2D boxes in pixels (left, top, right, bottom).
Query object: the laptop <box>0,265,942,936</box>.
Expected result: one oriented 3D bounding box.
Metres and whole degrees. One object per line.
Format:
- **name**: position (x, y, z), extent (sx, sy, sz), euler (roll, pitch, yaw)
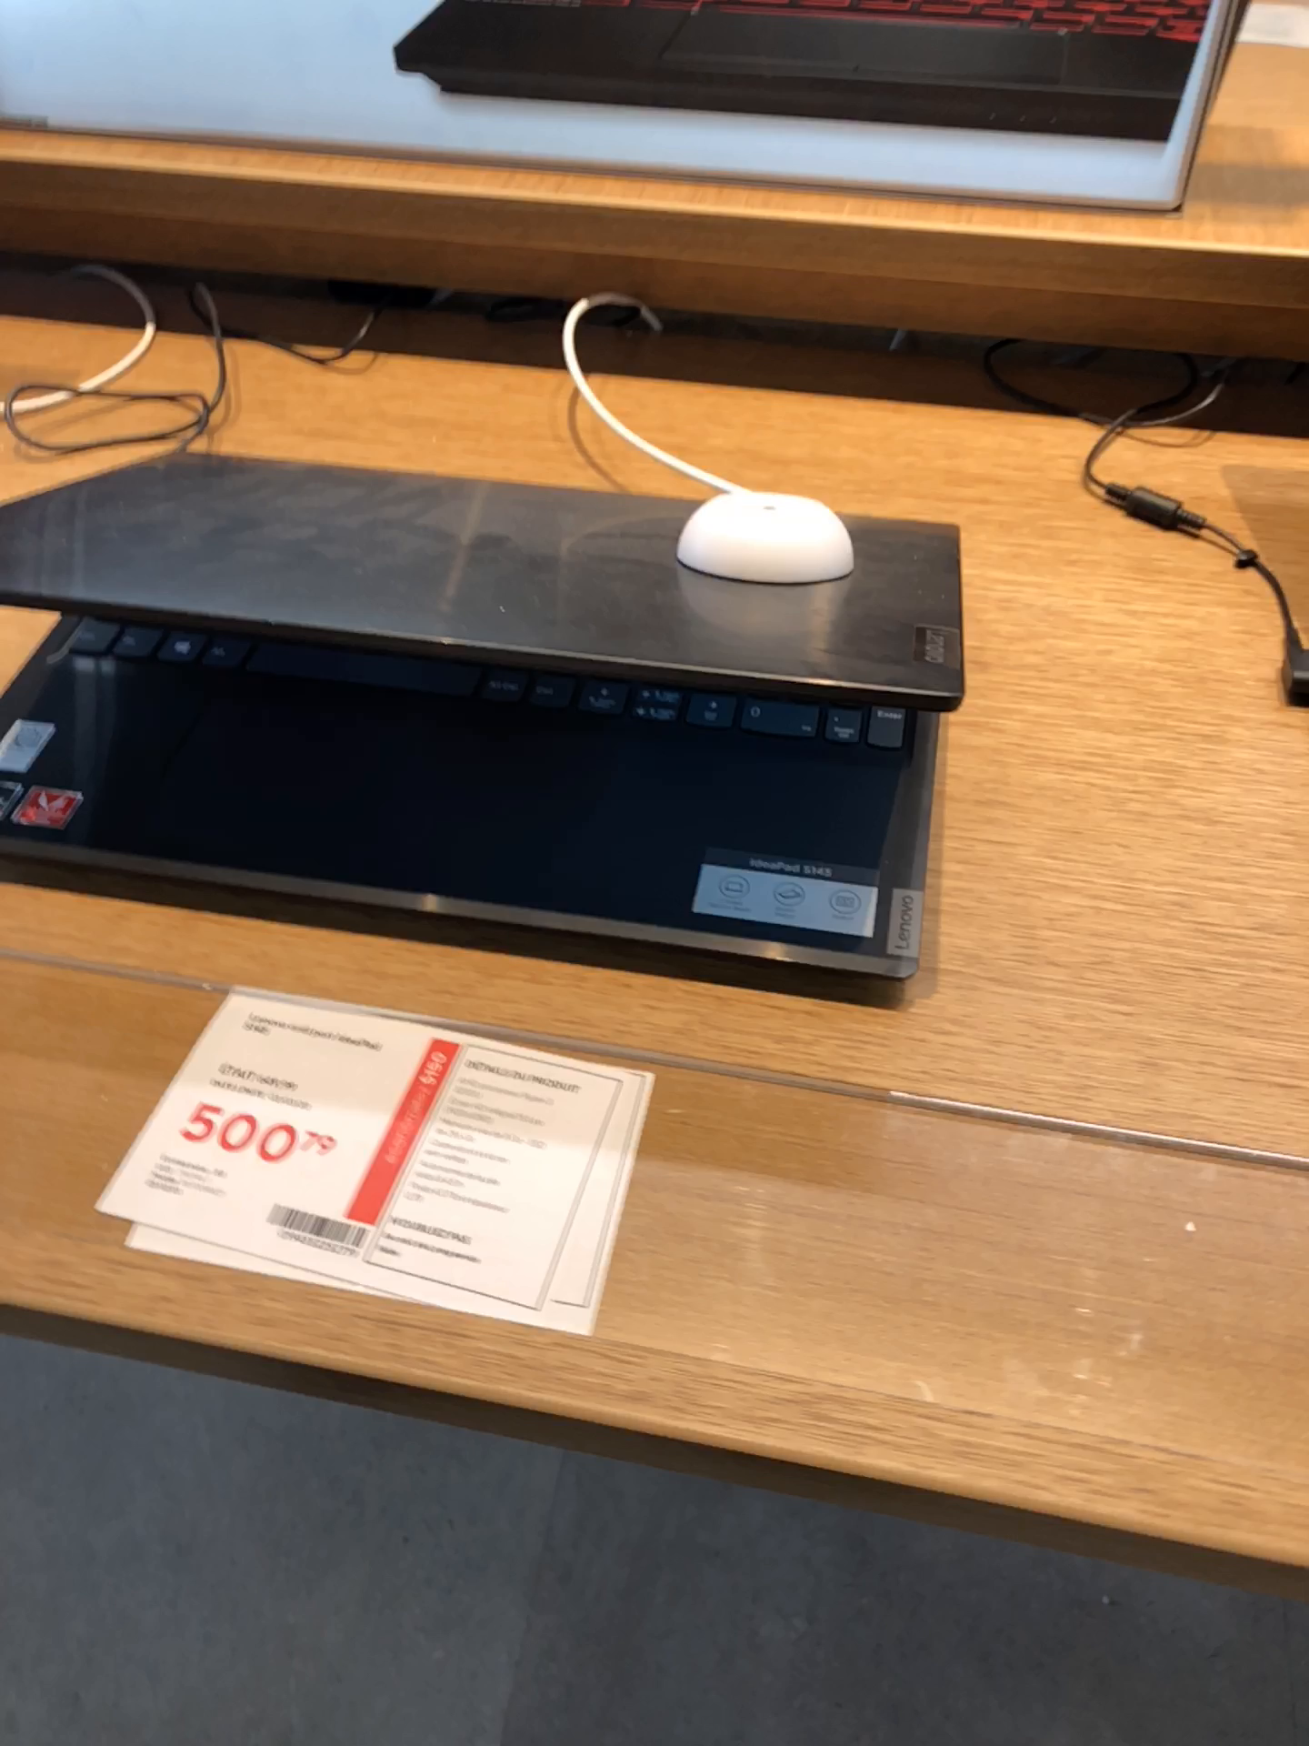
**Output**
- **laptop**: position (-0.075, -0.111, 0.523), extent (0.330, 0.083, 0.224), euler (8, 50, 5)
